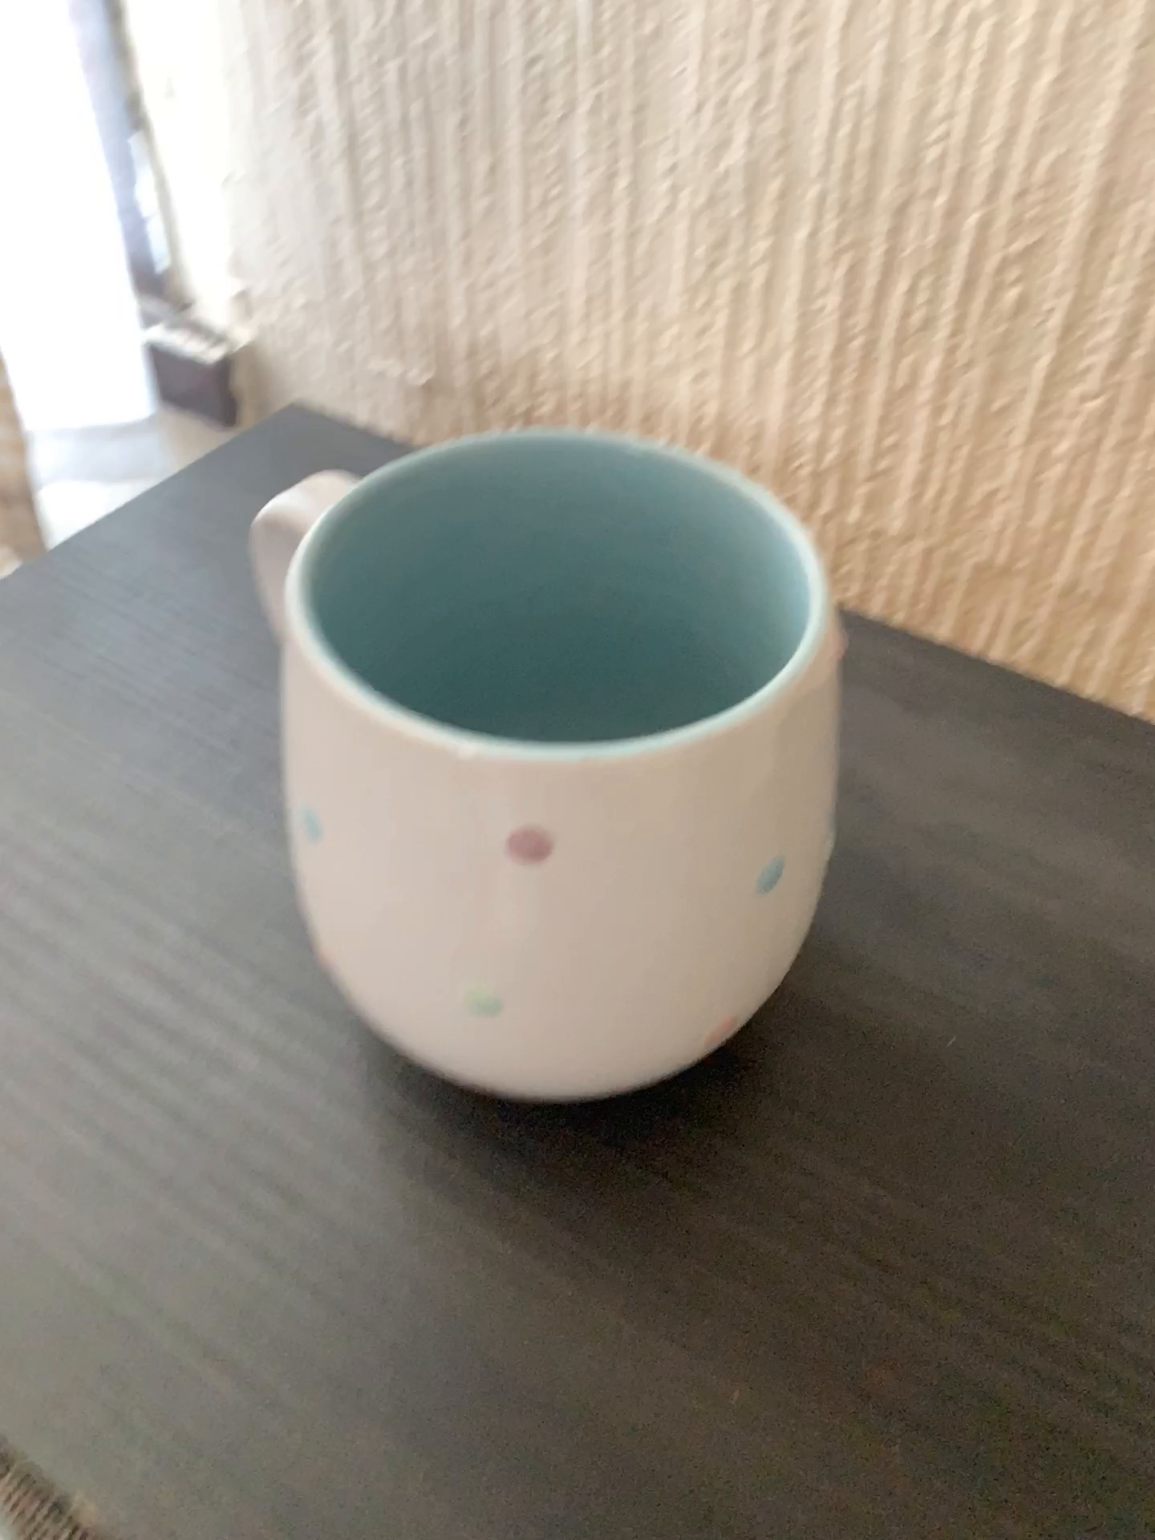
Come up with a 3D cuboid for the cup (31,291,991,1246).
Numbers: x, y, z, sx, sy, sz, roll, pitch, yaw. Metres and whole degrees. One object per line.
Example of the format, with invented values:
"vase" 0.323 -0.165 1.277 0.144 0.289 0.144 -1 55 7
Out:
"cup" -0.016 -0.010 0.234 0.100 0.099 0.131 -31 54 -28
